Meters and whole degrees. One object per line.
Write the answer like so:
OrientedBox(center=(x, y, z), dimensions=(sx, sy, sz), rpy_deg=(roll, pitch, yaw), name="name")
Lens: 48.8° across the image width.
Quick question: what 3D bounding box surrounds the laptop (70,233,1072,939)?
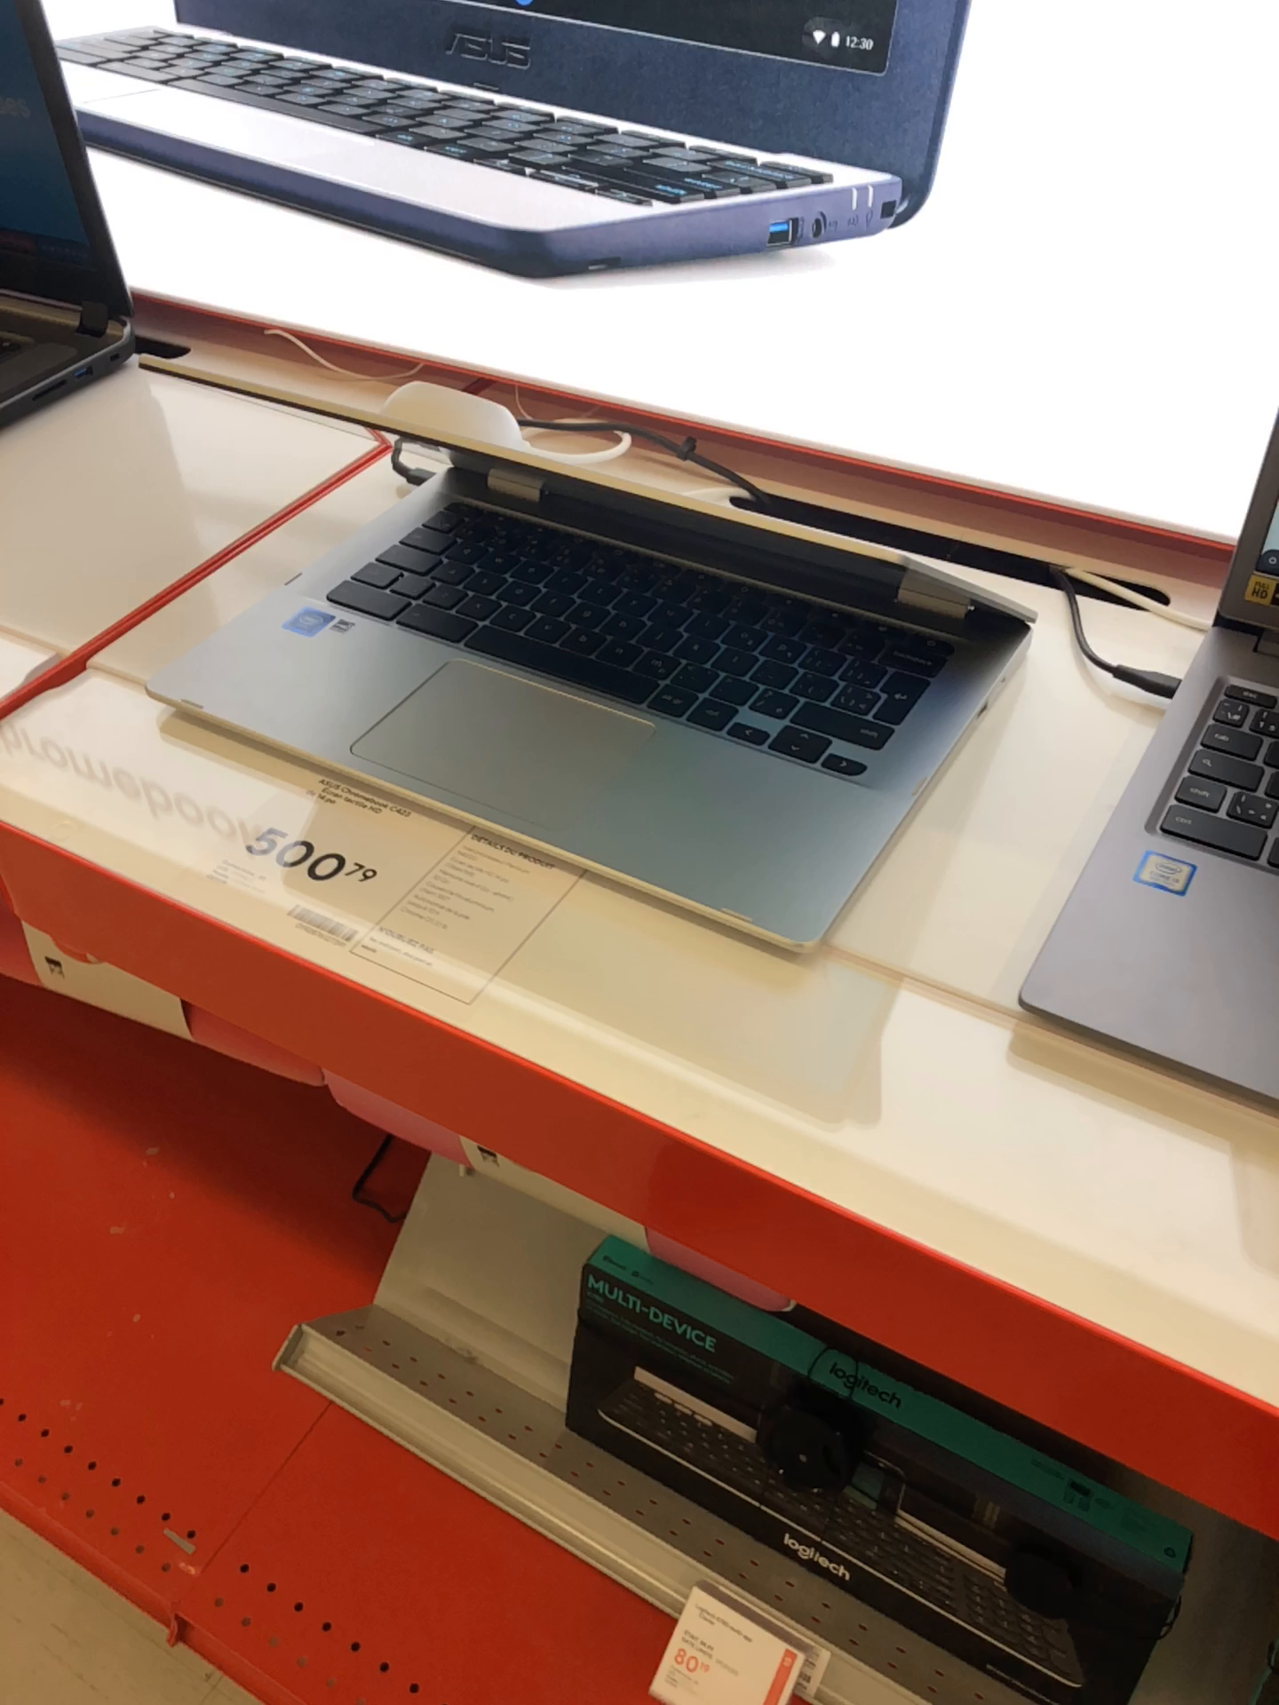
OrientedBox(center=(-0.023, -0.130, 0.573), dimensions=(0.312, 0.118, 0.213), rpy_deg=(21, 48, 23), name="laptop")
